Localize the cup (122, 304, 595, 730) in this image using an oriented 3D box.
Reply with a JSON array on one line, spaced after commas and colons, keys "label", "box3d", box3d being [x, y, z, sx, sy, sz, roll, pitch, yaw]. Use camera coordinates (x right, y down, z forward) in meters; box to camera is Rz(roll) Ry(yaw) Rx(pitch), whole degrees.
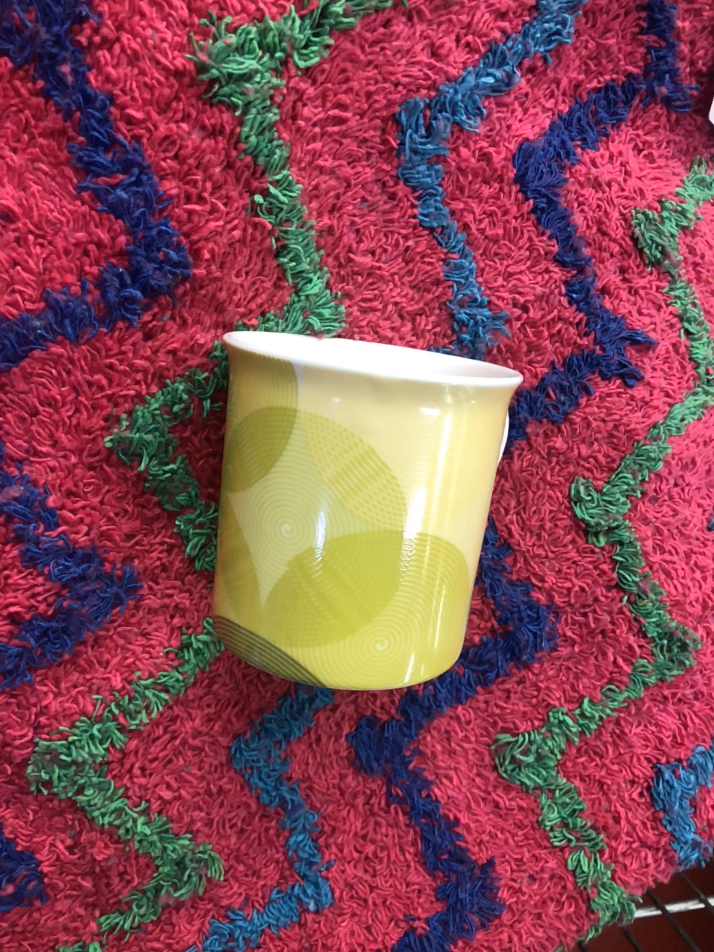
[{"label": "cup", "box3d": [0.000, 0.000, 0.240, 0.110, 0.080, 0.090, -9, 110, -44]}]
